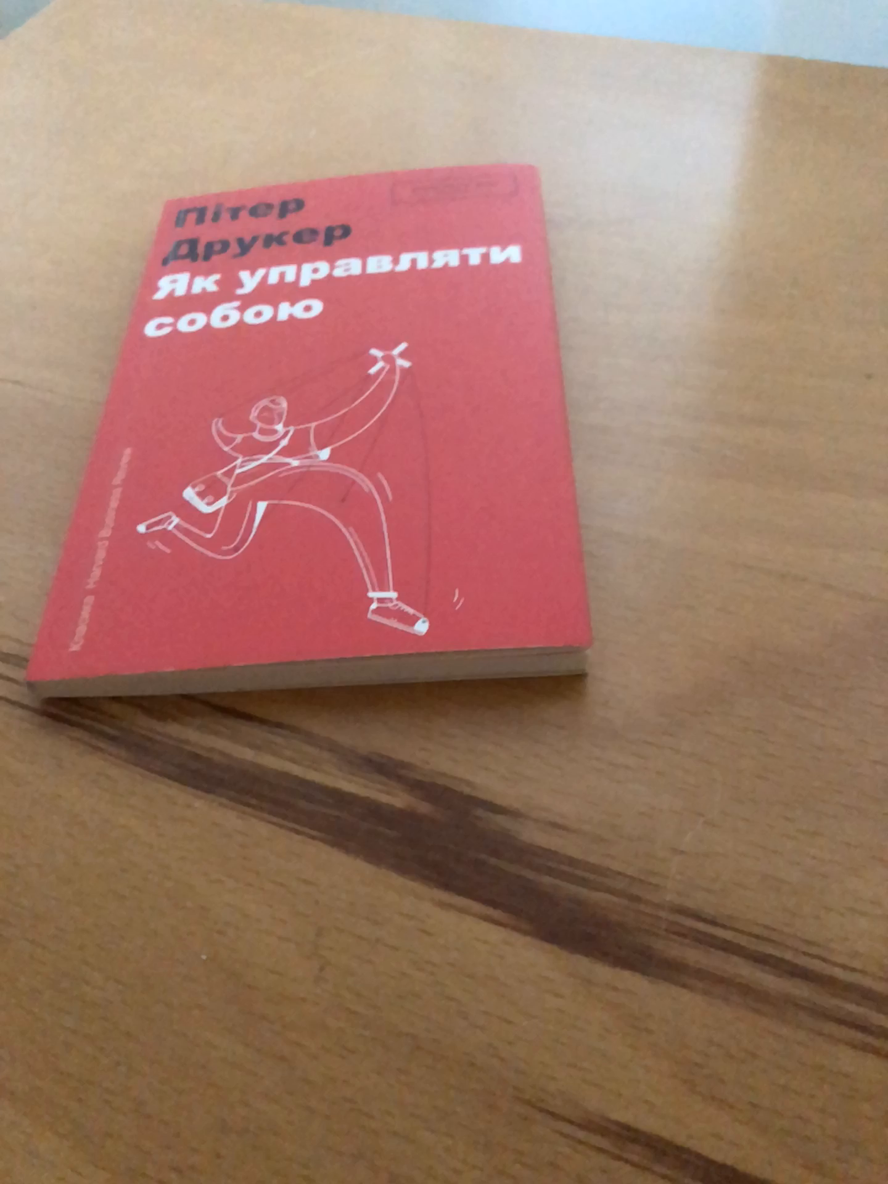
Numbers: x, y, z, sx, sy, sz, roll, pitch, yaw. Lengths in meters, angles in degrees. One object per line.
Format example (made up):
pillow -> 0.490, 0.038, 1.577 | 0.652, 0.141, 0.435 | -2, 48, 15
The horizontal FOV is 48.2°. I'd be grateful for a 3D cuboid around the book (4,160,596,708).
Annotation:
book -> -0.027, -0.049, 0.239 | 0.111, 0.013, 0.164 | -4, 52, 5
